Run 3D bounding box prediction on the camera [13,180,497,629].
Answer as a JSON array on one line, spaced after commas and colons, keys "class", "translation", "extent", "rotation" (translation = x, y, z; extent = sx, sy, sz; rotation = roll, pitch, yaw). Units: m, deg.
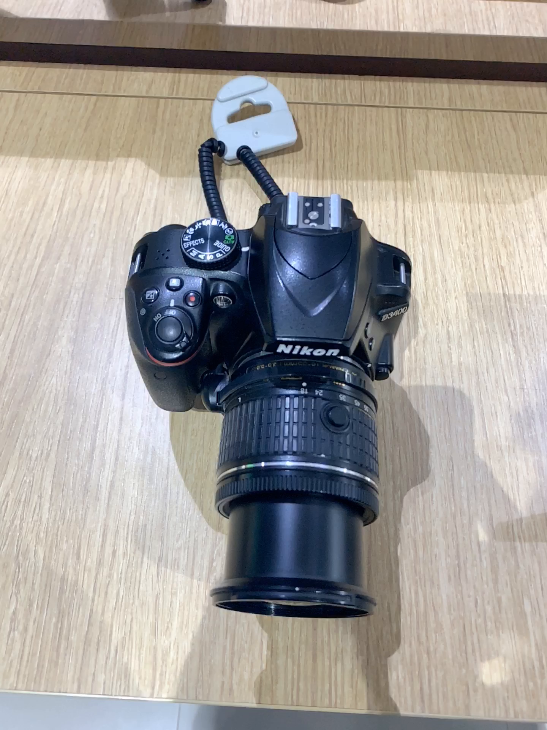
[{"class": "camera", "translation": [-0.003, 0.018, 0.215], "extent": [0.120, 0.094, 0.140], "rotation": [2, 61, 1]}]
